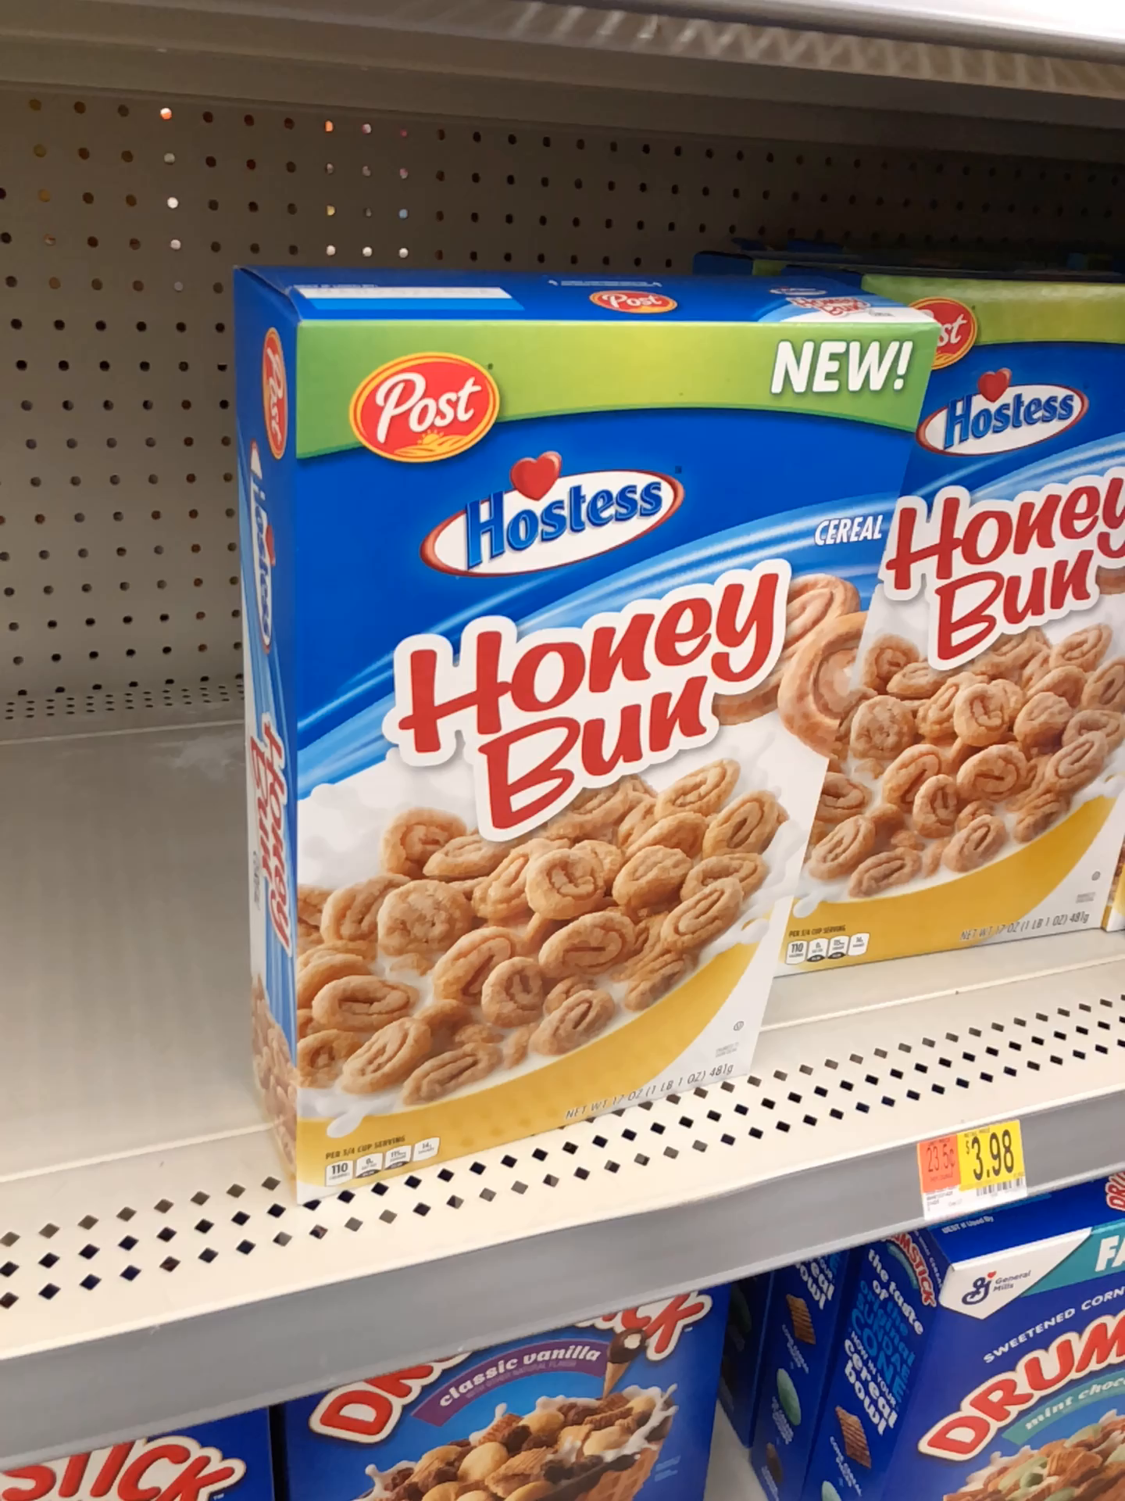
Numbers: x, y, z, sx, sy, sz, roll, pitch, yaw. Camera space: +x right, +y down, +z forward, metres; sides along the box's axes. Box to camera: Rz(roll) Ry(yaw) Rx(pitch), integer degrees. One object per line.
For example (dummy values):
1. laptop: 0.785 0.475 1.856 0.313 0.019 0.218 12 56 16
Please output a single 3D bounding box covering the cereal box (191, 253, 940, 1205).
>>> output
1. cereal box: -0.009 -0.002 0.424 0.200 0.299 0.070 -9 34 -24
